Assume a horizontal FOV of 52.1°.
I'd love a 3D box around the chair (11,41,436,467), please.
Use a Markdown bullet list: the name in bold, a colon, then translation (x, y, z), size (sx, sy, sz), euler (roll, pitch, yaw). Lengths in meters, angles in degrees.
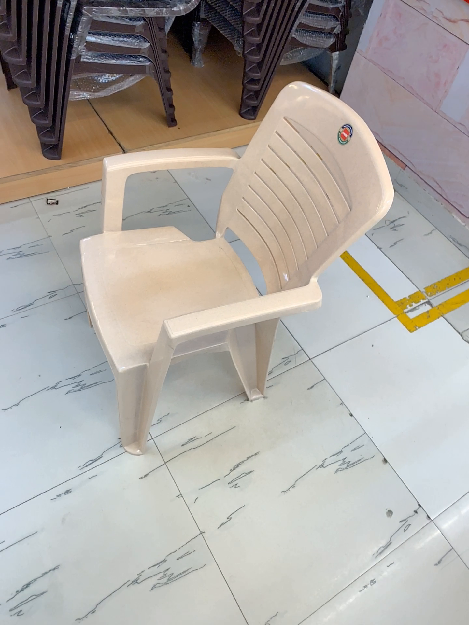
- **chair**: translation (-0.094, -0.121, 1.188), size (0.621, 0.775, 0.573), euler (-14, 57, -19)
